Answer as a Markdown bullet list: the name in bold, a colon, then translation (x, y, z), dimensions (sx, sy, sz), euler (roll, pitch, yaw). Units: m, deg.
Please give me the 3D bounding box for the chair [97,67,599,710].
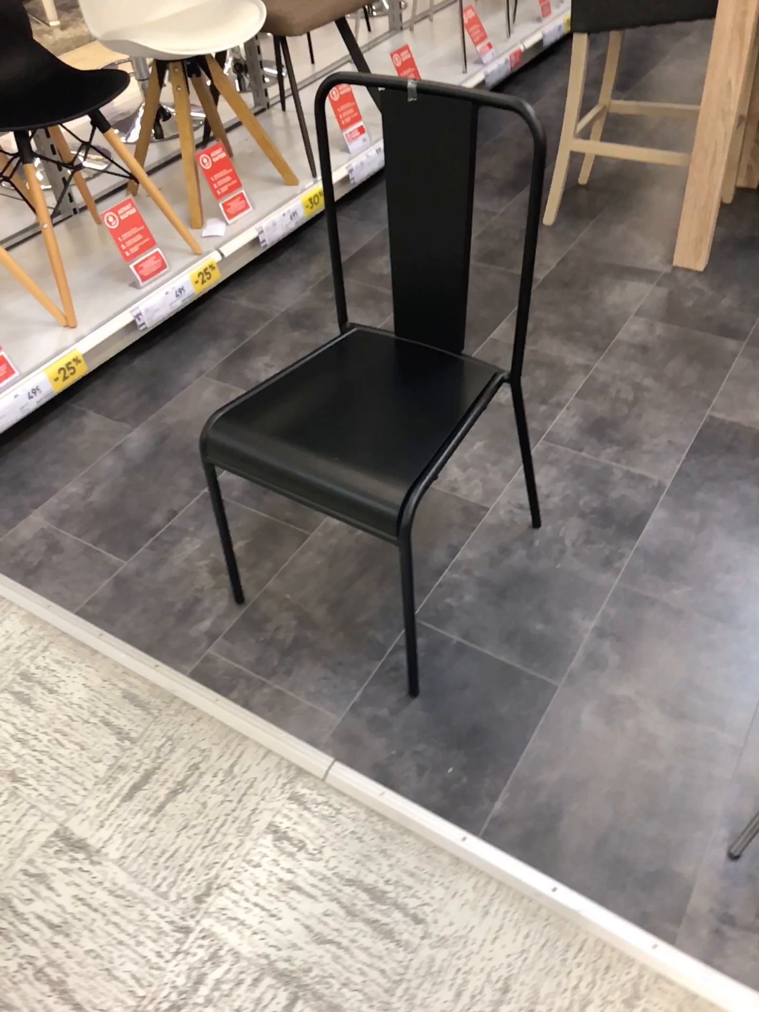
- **chair**: translation (0.009, -0.191, 1.406), dimensions (0.440, 0.815, 0.573), euler (21, 50, 25)
